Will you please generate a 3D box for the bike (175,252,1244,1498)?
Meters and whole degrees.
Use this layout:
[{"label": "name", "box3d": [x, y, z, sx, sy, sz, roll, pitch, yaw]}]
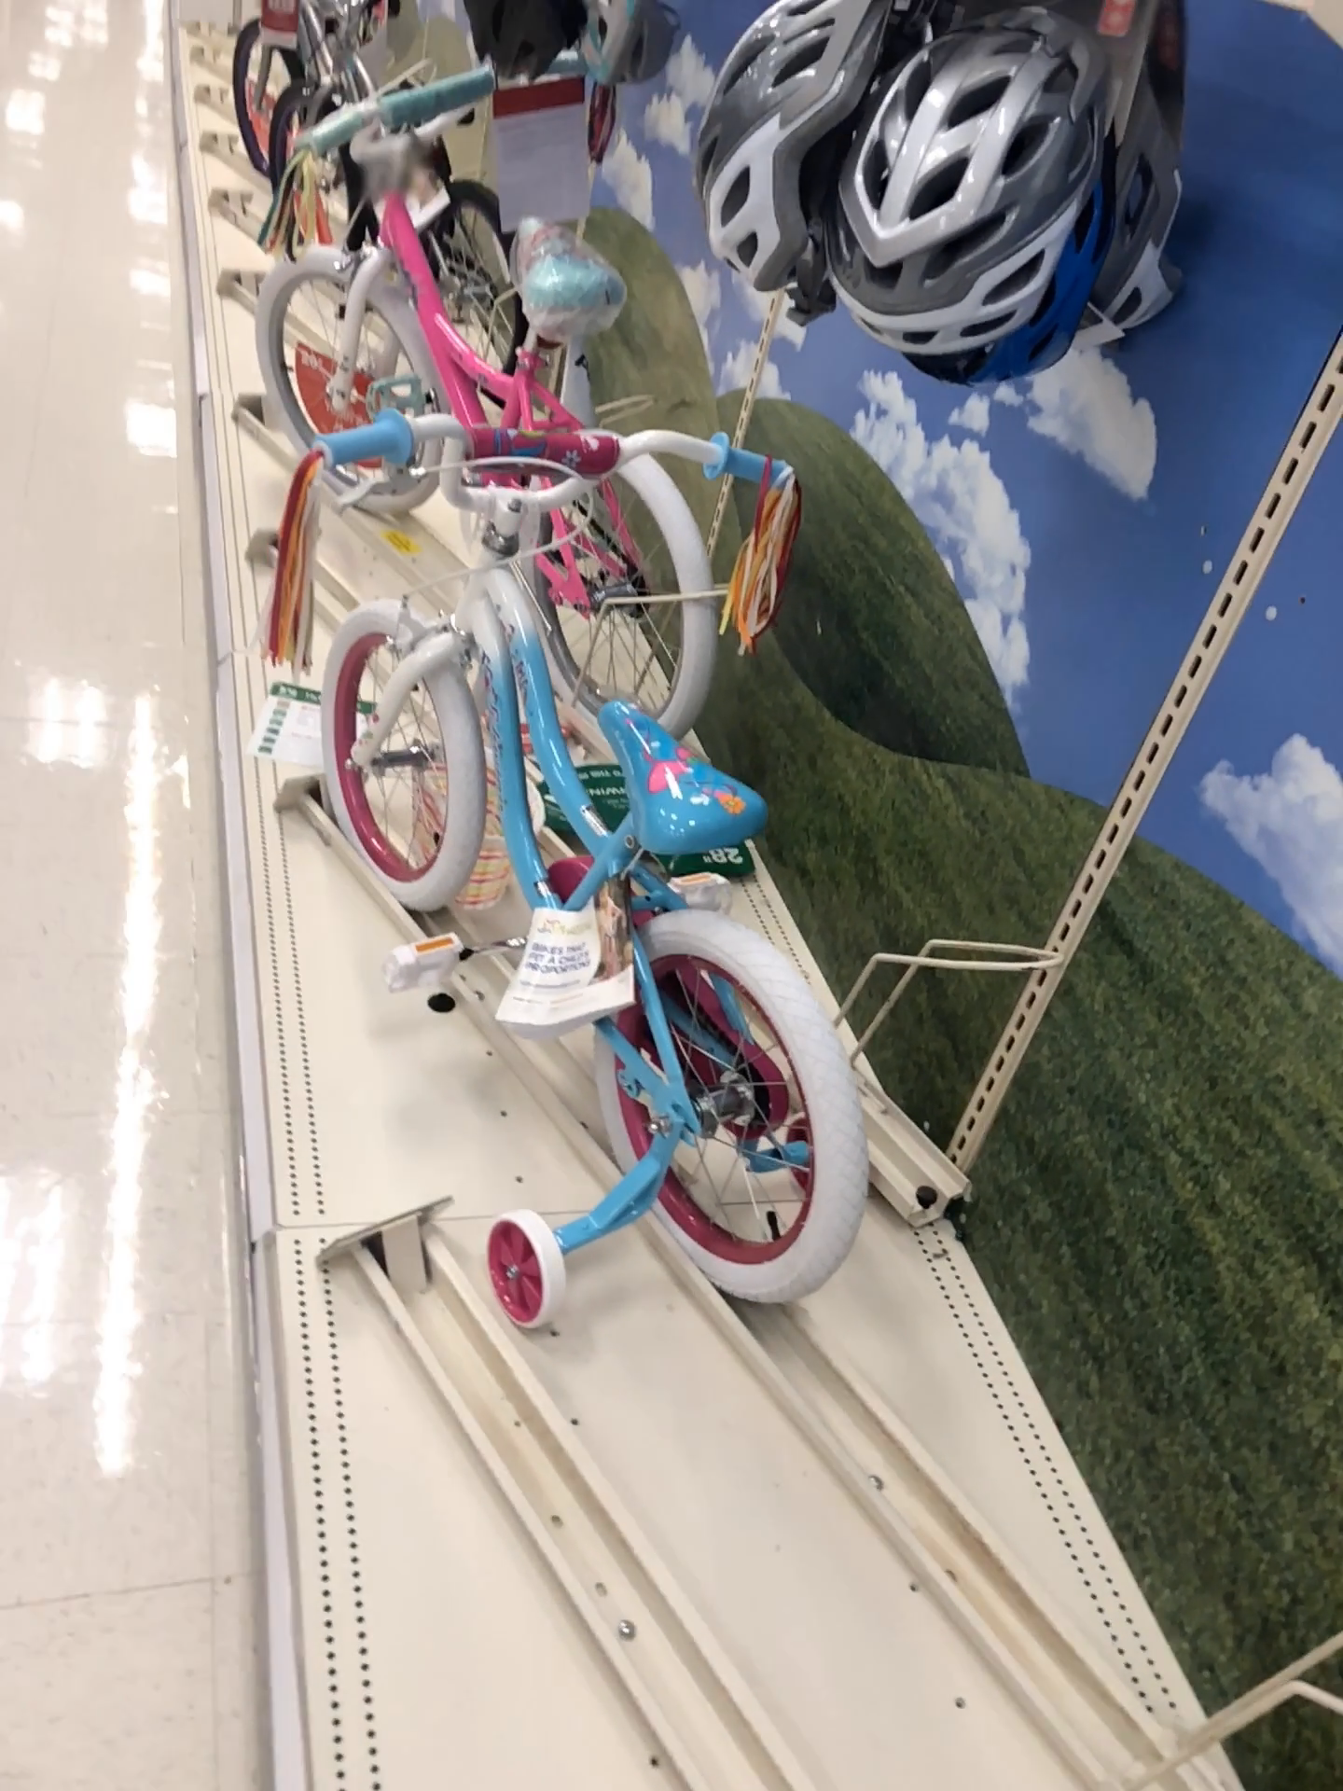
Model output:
[{"label": "bike", "box3d": [-0.082, -0.129, 1.625, 0.533, 0.724, 1.093, -13, 45, -37]}]
